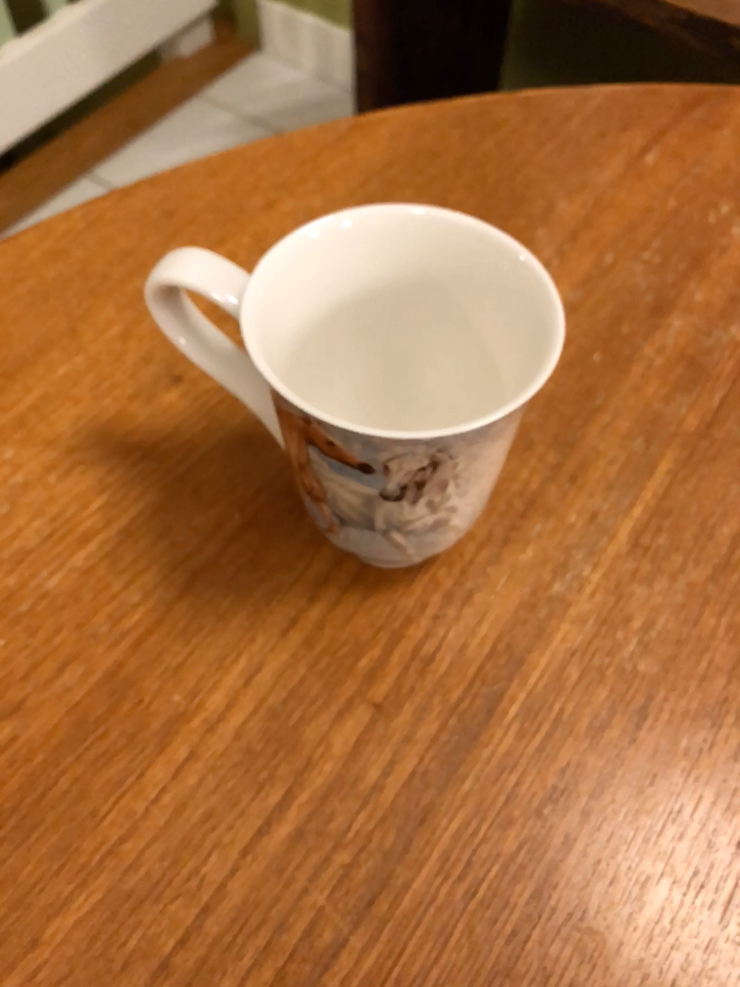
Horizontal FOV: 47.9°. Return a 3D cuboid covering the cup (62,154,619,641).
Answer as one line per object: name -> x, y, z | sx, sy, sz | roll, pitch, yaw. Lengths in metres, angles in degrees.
cup -> -0.005, -0.029, 0.271 | 0.133, 0.098, 0.083 | 17, 60, 10
